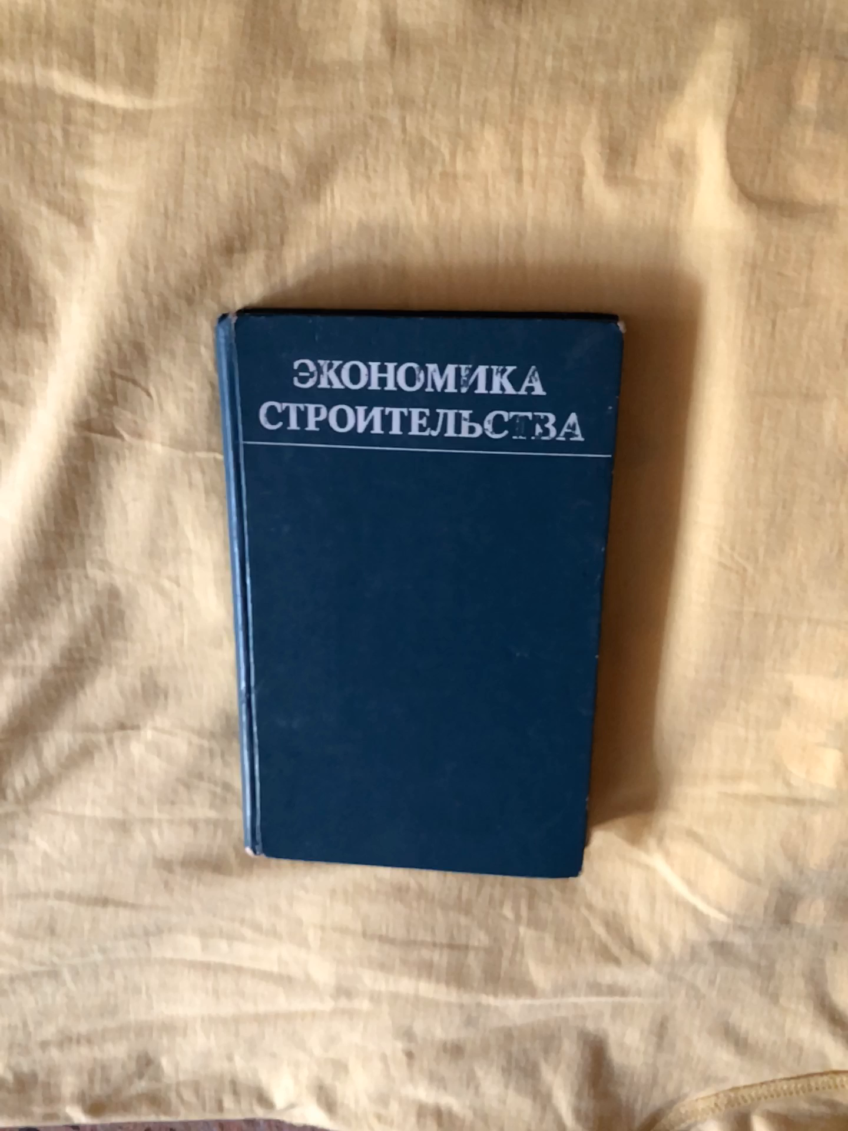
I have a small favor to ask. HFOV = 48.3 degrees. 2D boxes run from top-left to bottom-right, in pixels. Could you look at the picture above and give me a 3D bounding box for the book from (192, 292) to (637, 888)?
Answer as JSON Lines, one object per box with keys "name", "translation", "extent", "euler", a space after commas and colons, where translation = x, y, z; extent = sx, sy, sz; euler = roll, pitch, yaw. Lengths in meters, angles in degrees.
{"name": "book", "translation": [-0.003, 0.013, 0.322], "extent": [0.130, 0.030, 0.200], "euler": [2, 109, 4]}
